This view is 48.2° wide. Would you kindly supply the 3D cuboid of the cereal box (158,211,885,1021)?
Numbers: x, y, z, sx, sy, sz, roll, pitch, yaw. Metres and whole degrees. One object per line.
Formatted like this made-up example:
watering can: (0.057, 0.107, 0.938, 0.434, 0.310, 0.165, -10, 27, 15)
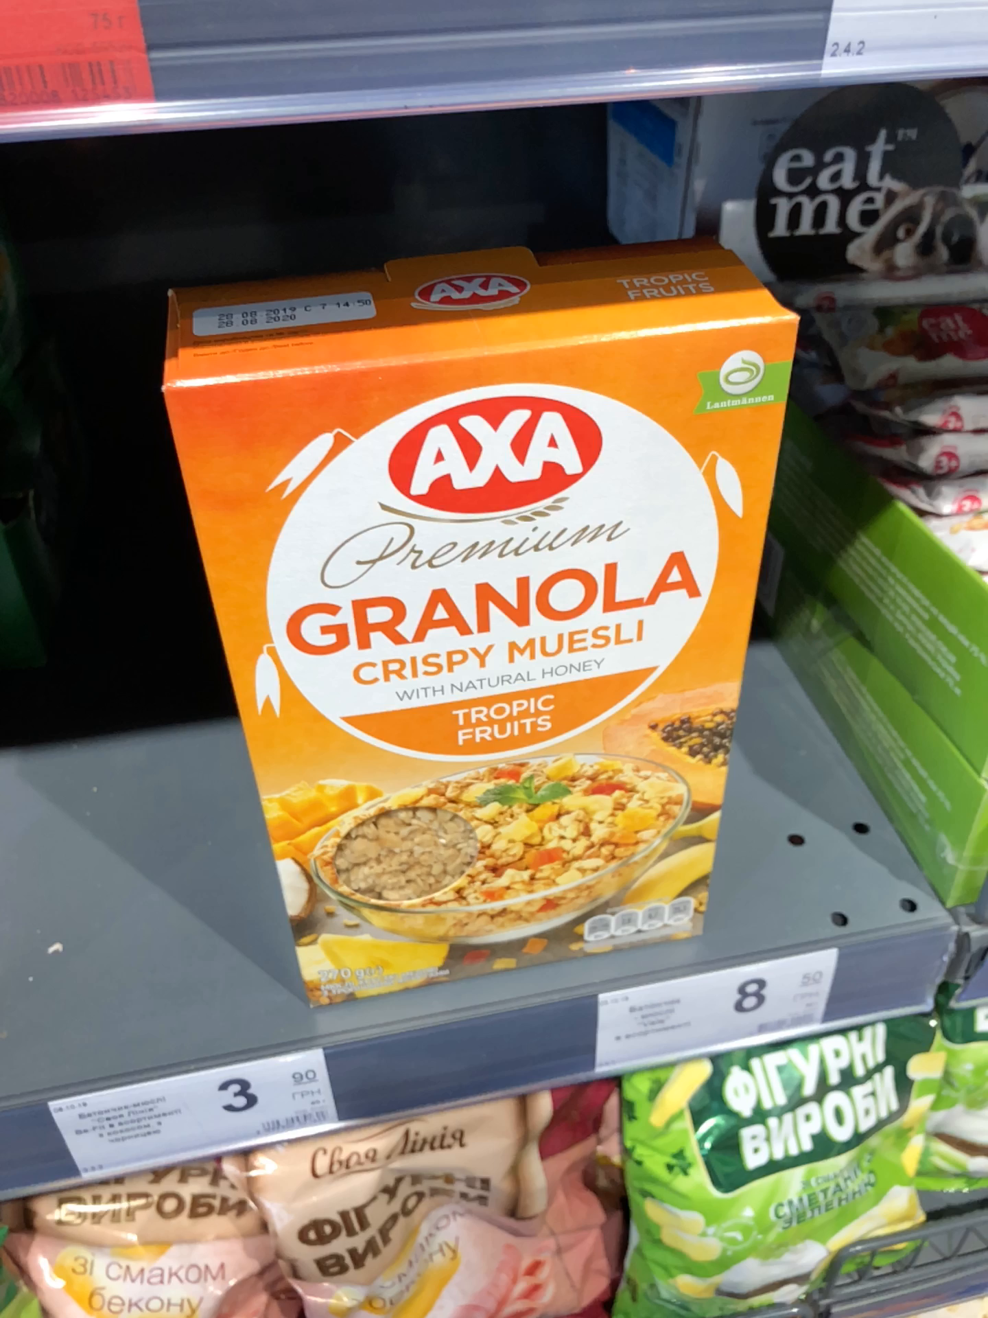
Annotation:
cereal box: (0.005, 0.002, 0.293, 0.140, 0.208, 0.050, -9, 41, -9)
